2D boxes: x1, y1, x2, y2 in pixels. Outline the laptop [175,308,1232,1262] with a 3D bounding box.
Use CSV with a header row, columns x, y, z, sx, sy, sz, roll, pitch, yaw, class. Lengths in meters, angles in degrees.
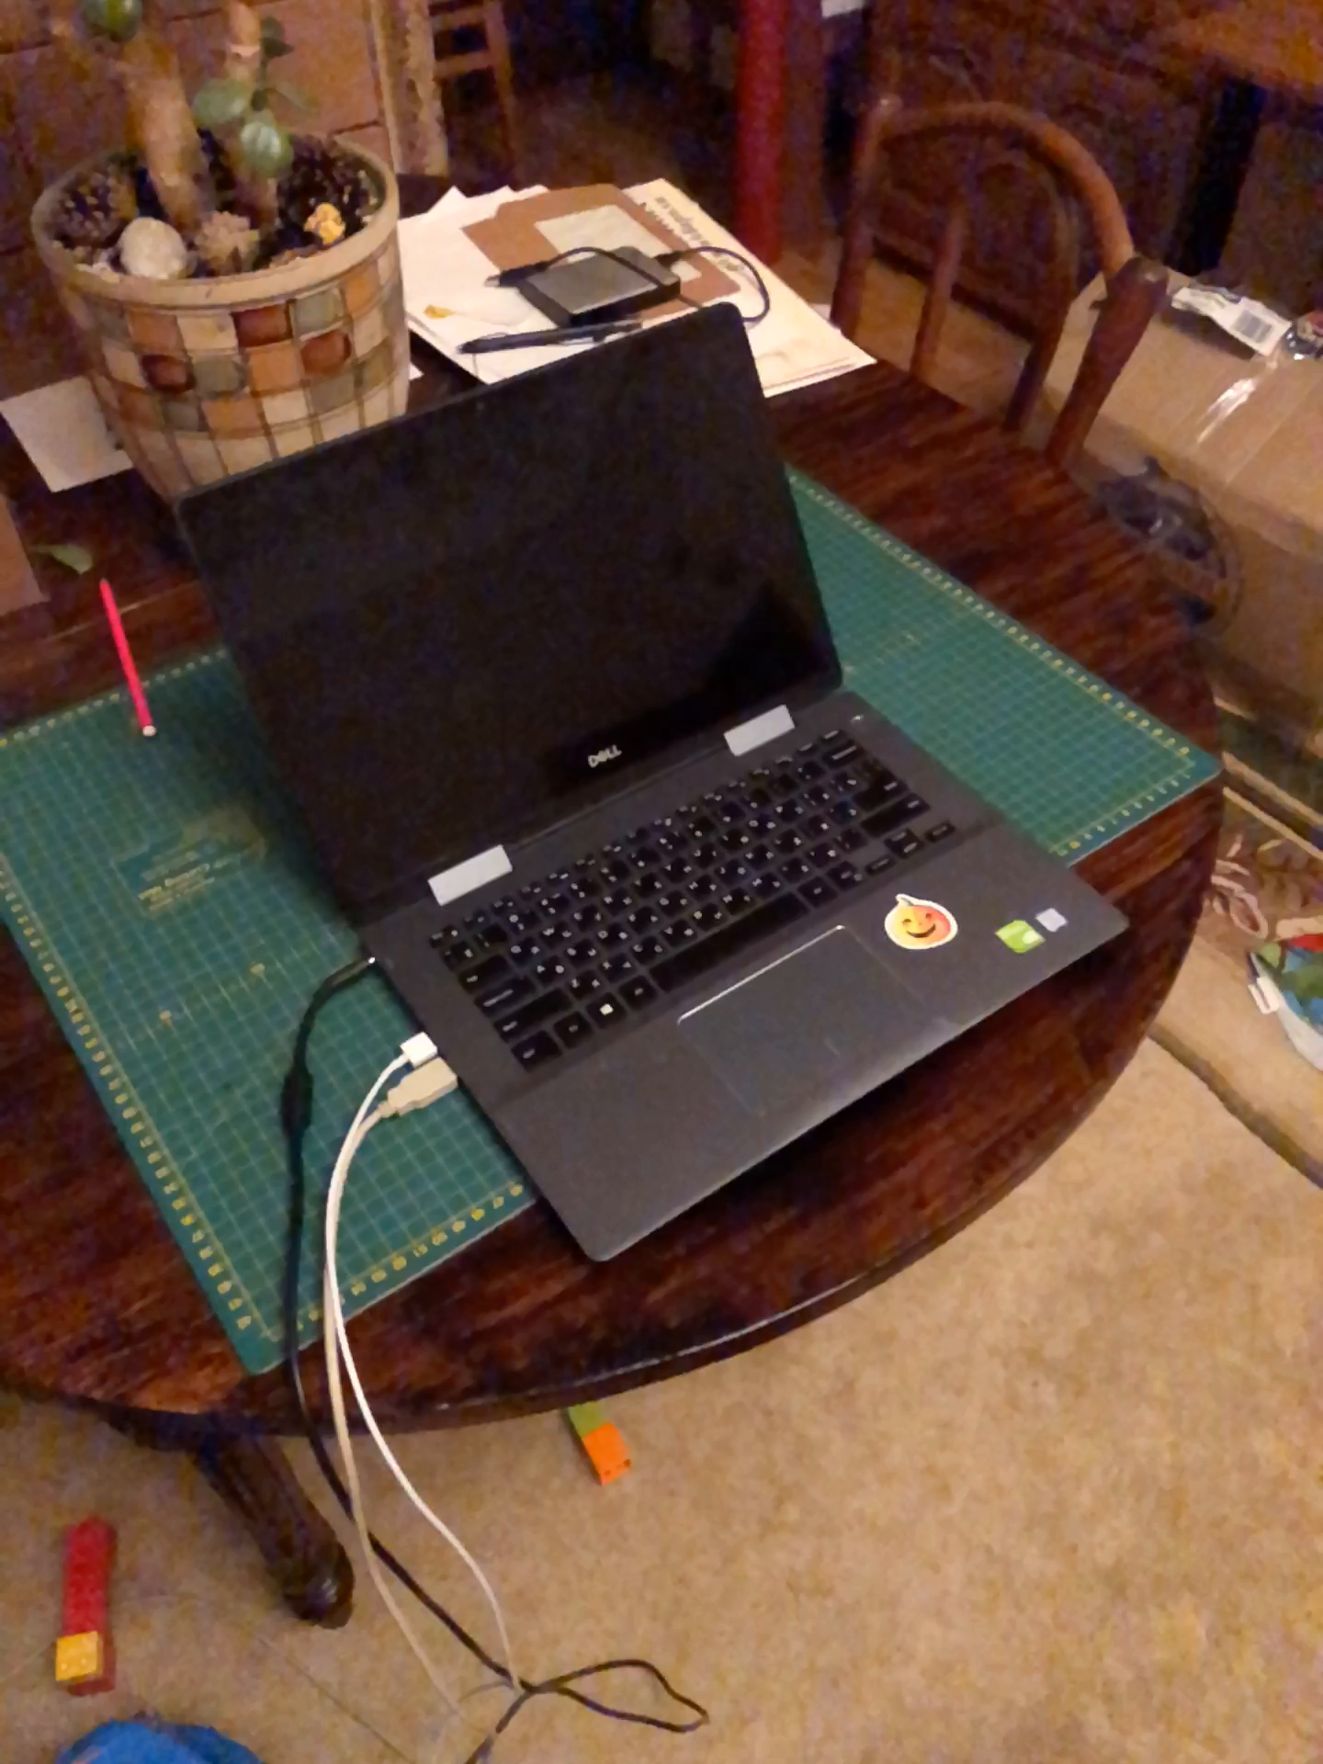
x,y,z,sx,sy,sz,roll,pitch,yaw,class
0.007,-0.074,0.704,0.322,0.192,0.337,-28,53,-22,laptop
